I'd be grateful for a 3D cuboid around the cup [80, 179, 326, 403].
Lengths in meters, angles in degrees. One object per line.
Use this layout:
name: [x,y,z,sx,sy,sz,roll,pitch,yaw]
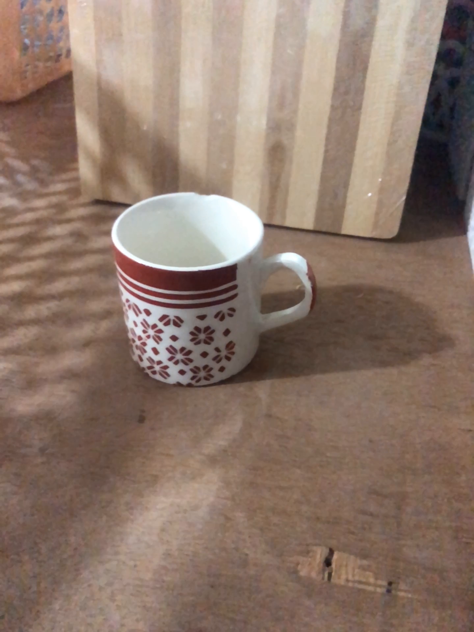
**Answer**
cup: [-0.010,-0.013,0.241,0.090,0.070,0.070,3,40,4]
